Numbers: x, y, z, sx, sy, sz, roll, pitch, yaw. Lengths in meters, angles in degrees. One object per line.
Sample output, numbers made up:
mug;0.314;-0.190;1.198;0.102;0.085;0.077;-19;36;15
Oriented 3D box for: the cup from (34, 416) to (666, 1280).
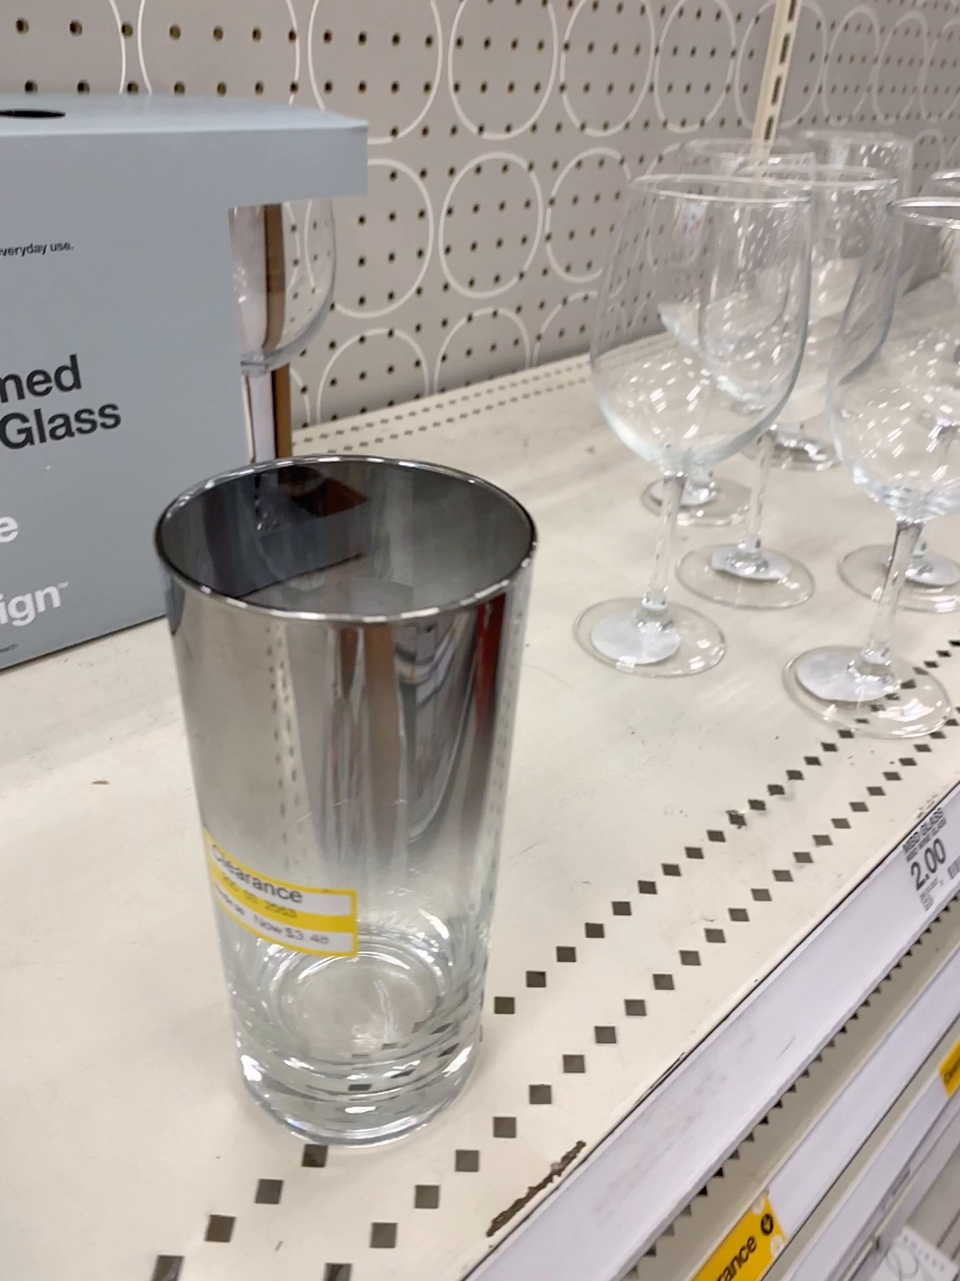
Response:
cup;-0.021;0.044;0.212;0.080;0.149;0.080;3;32;-2
